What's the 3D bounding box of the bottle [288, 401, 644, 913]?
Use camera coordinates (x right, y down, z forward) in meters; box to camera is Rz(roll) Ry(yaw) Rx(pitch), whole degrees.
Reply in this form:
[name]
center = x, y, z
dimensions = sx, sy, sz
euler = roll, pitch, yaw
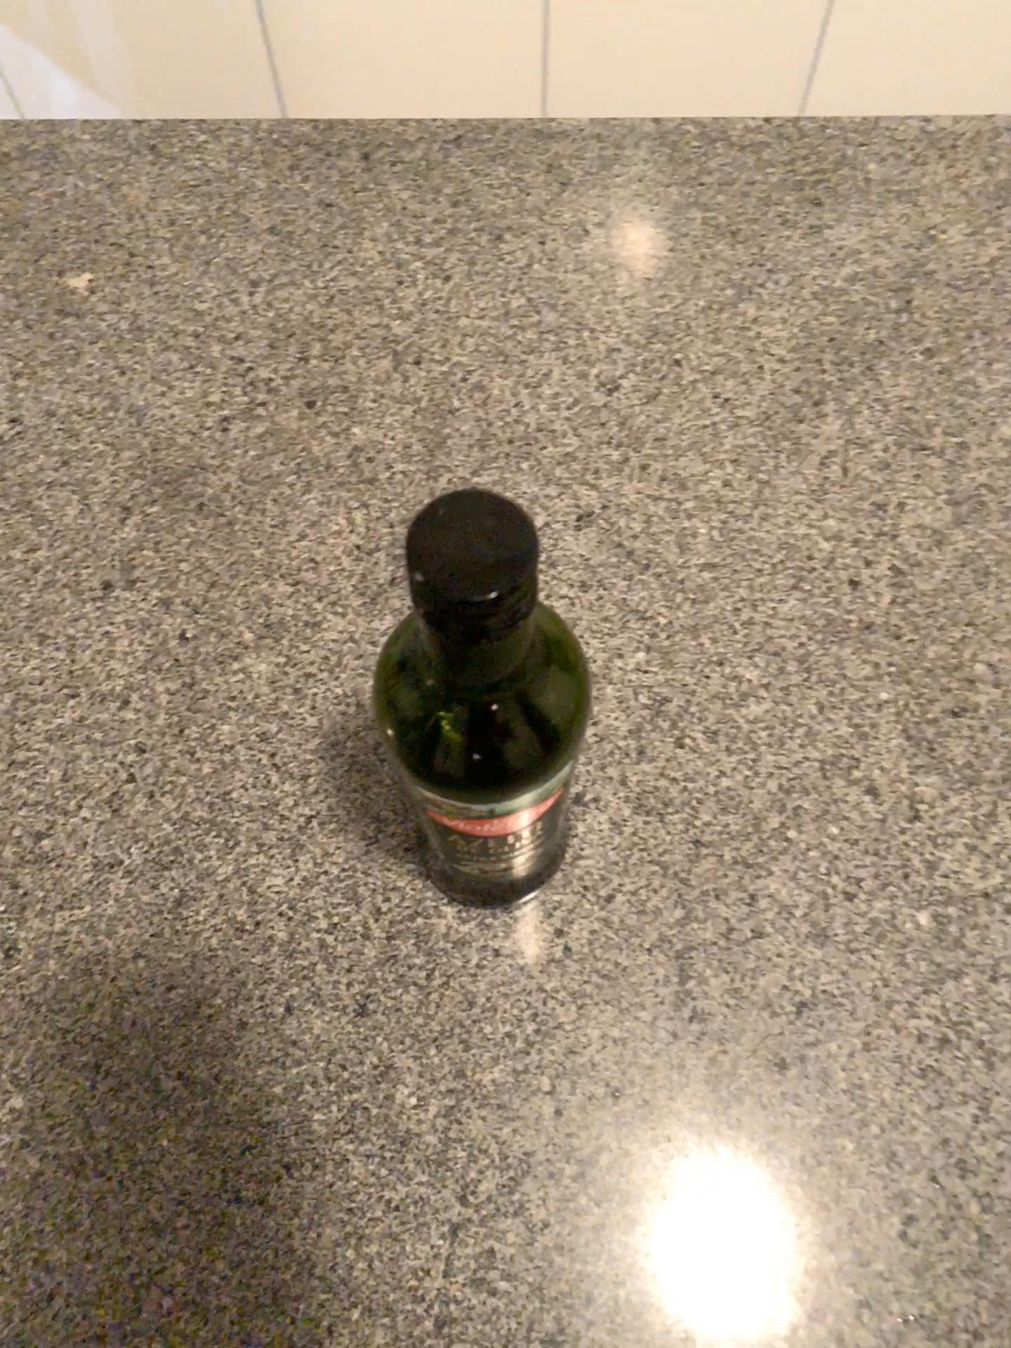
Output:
[bottle]
center = -0.009, 0.018, 0.330
dimensions = 0.070, 0.239, 0.060
euler = -7, 66, -2
